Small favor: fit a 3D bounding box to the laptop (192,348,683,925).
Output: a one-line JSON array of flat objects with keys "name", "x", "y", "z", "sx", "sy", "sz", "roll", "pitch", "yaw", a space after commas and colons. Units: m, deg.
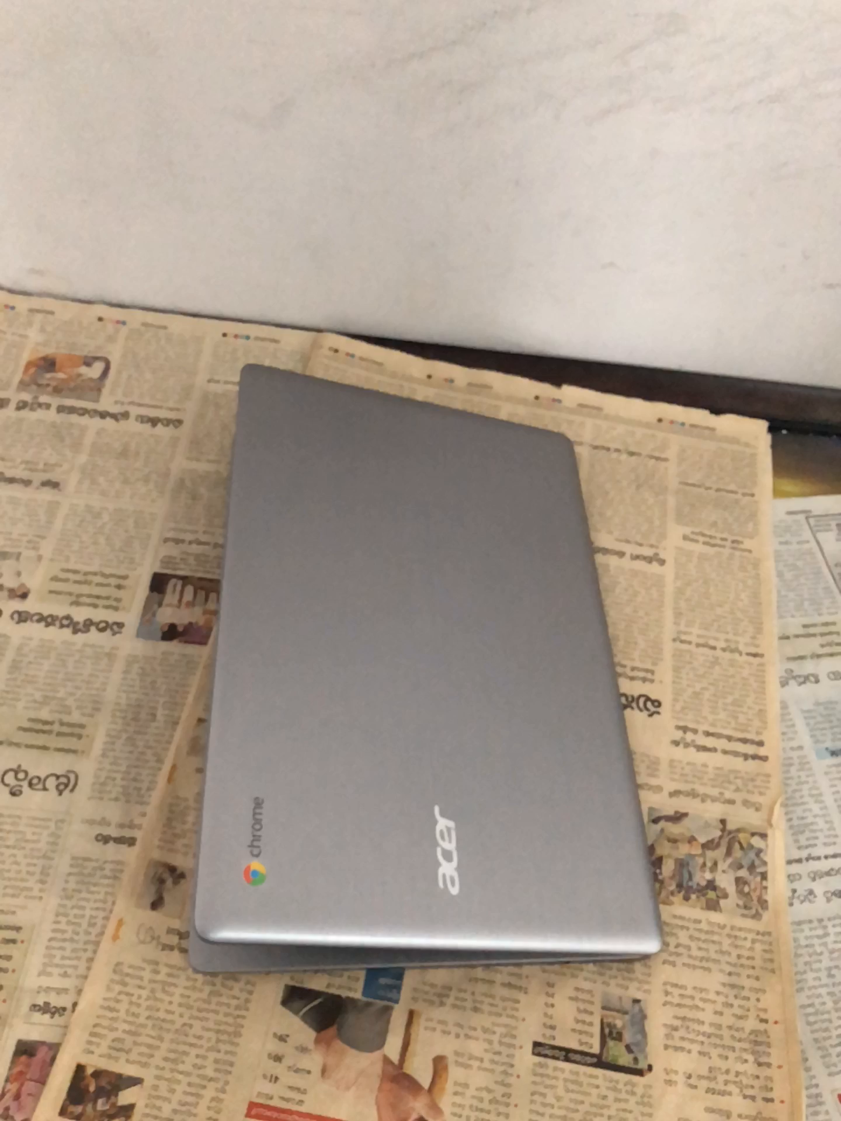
[{"name": "laptop", "x": 0.000, "y": 0.022, "z": 0.518, "sx": 0.210, "sy": 0.058, "sz": 0.332, "roll": 1, "pitch": 55, "yaw": -5}]
